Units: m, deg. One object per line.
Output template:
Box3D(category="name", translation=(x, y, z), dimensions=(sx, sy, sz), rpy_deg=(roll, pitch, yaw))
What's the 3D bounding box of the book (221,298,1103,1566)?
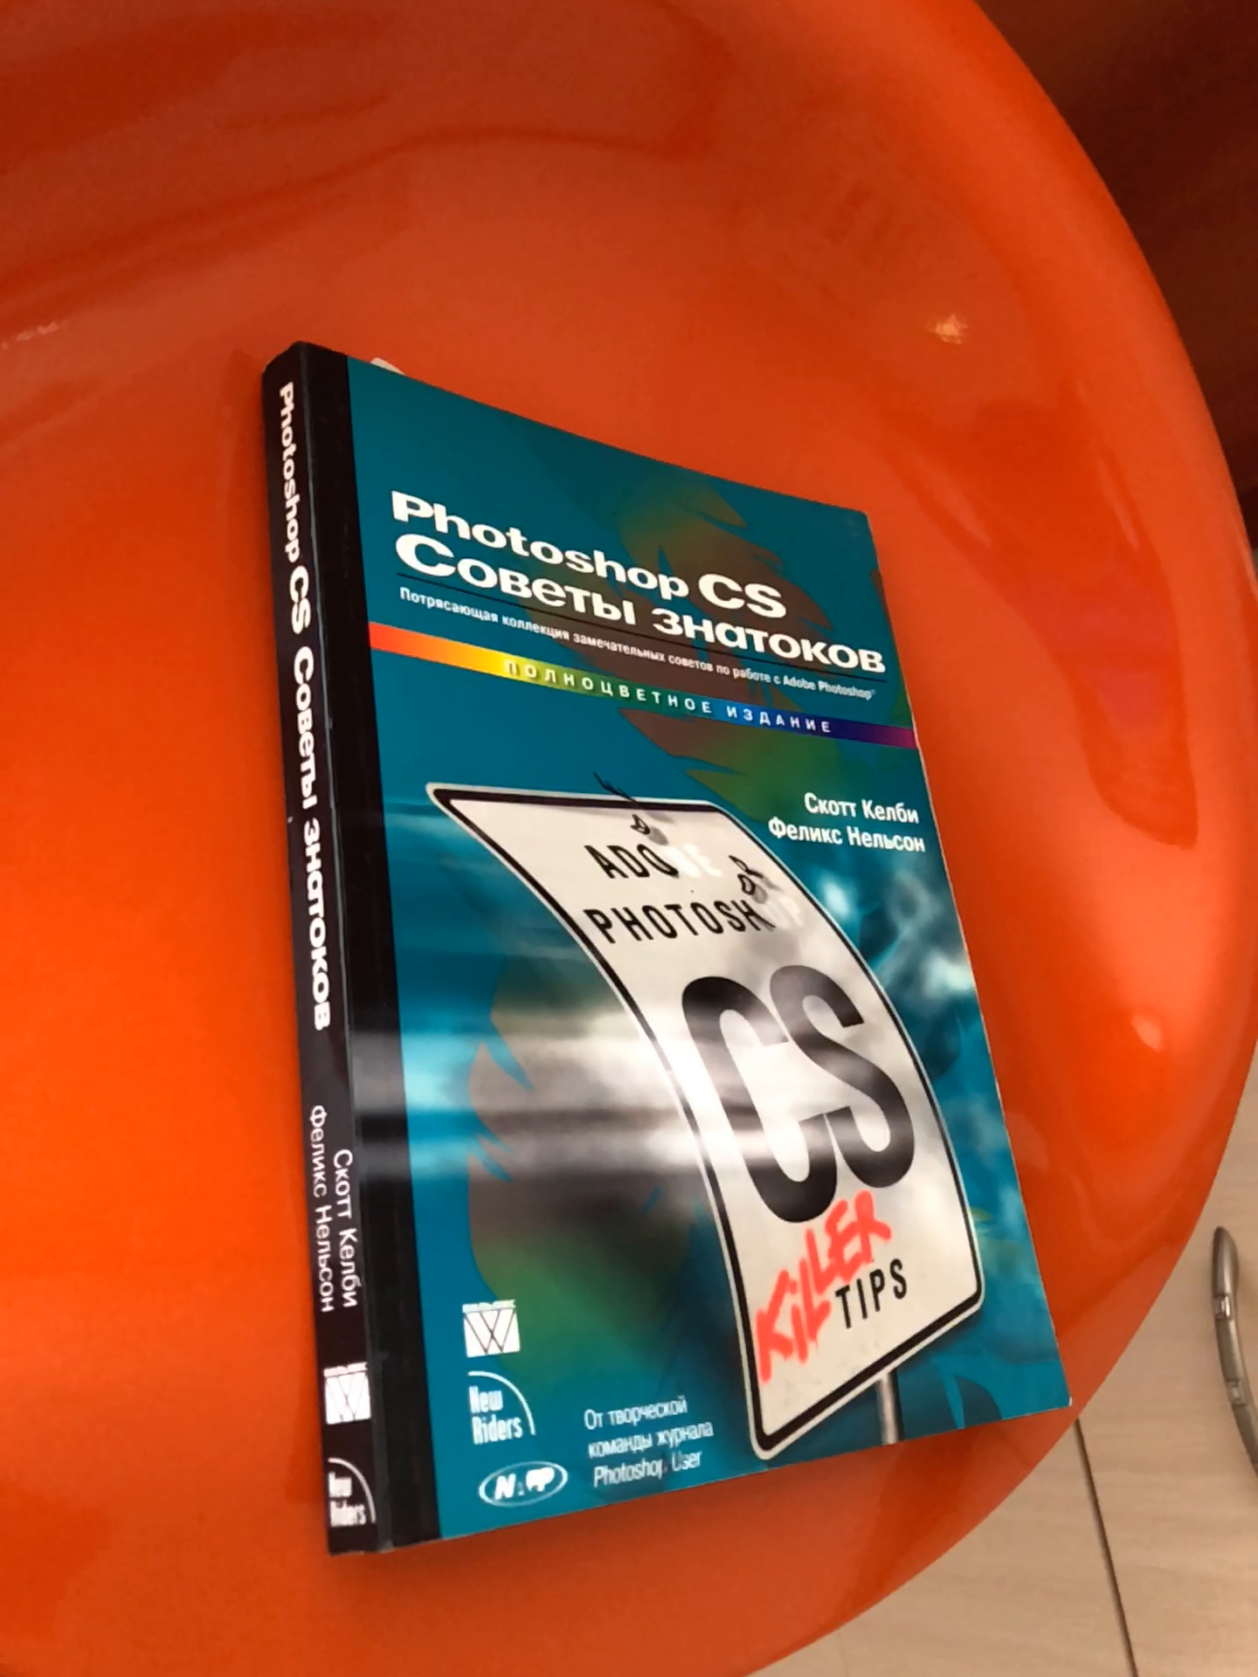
Box3D(category="book", translation=(0.006, 0.010, 0.306), dimensions=(0.175, 0.030, 0.236), rpy_deg=(7, 64, -35))
